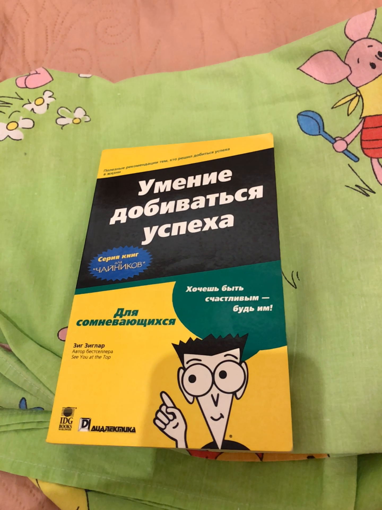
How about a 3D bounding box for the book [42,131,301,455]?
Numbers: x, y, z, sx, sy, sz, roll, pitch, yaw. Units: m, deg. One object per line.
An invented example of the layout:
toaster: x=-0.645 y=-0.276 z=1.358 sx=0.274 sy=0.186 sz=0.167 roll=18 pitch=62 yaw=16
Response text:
book: x=-0.007 y=0.009 z=0.250 sx=0.125 sy=0.015 sz=0.192 roll=-3 pitch=61 yaw=11
